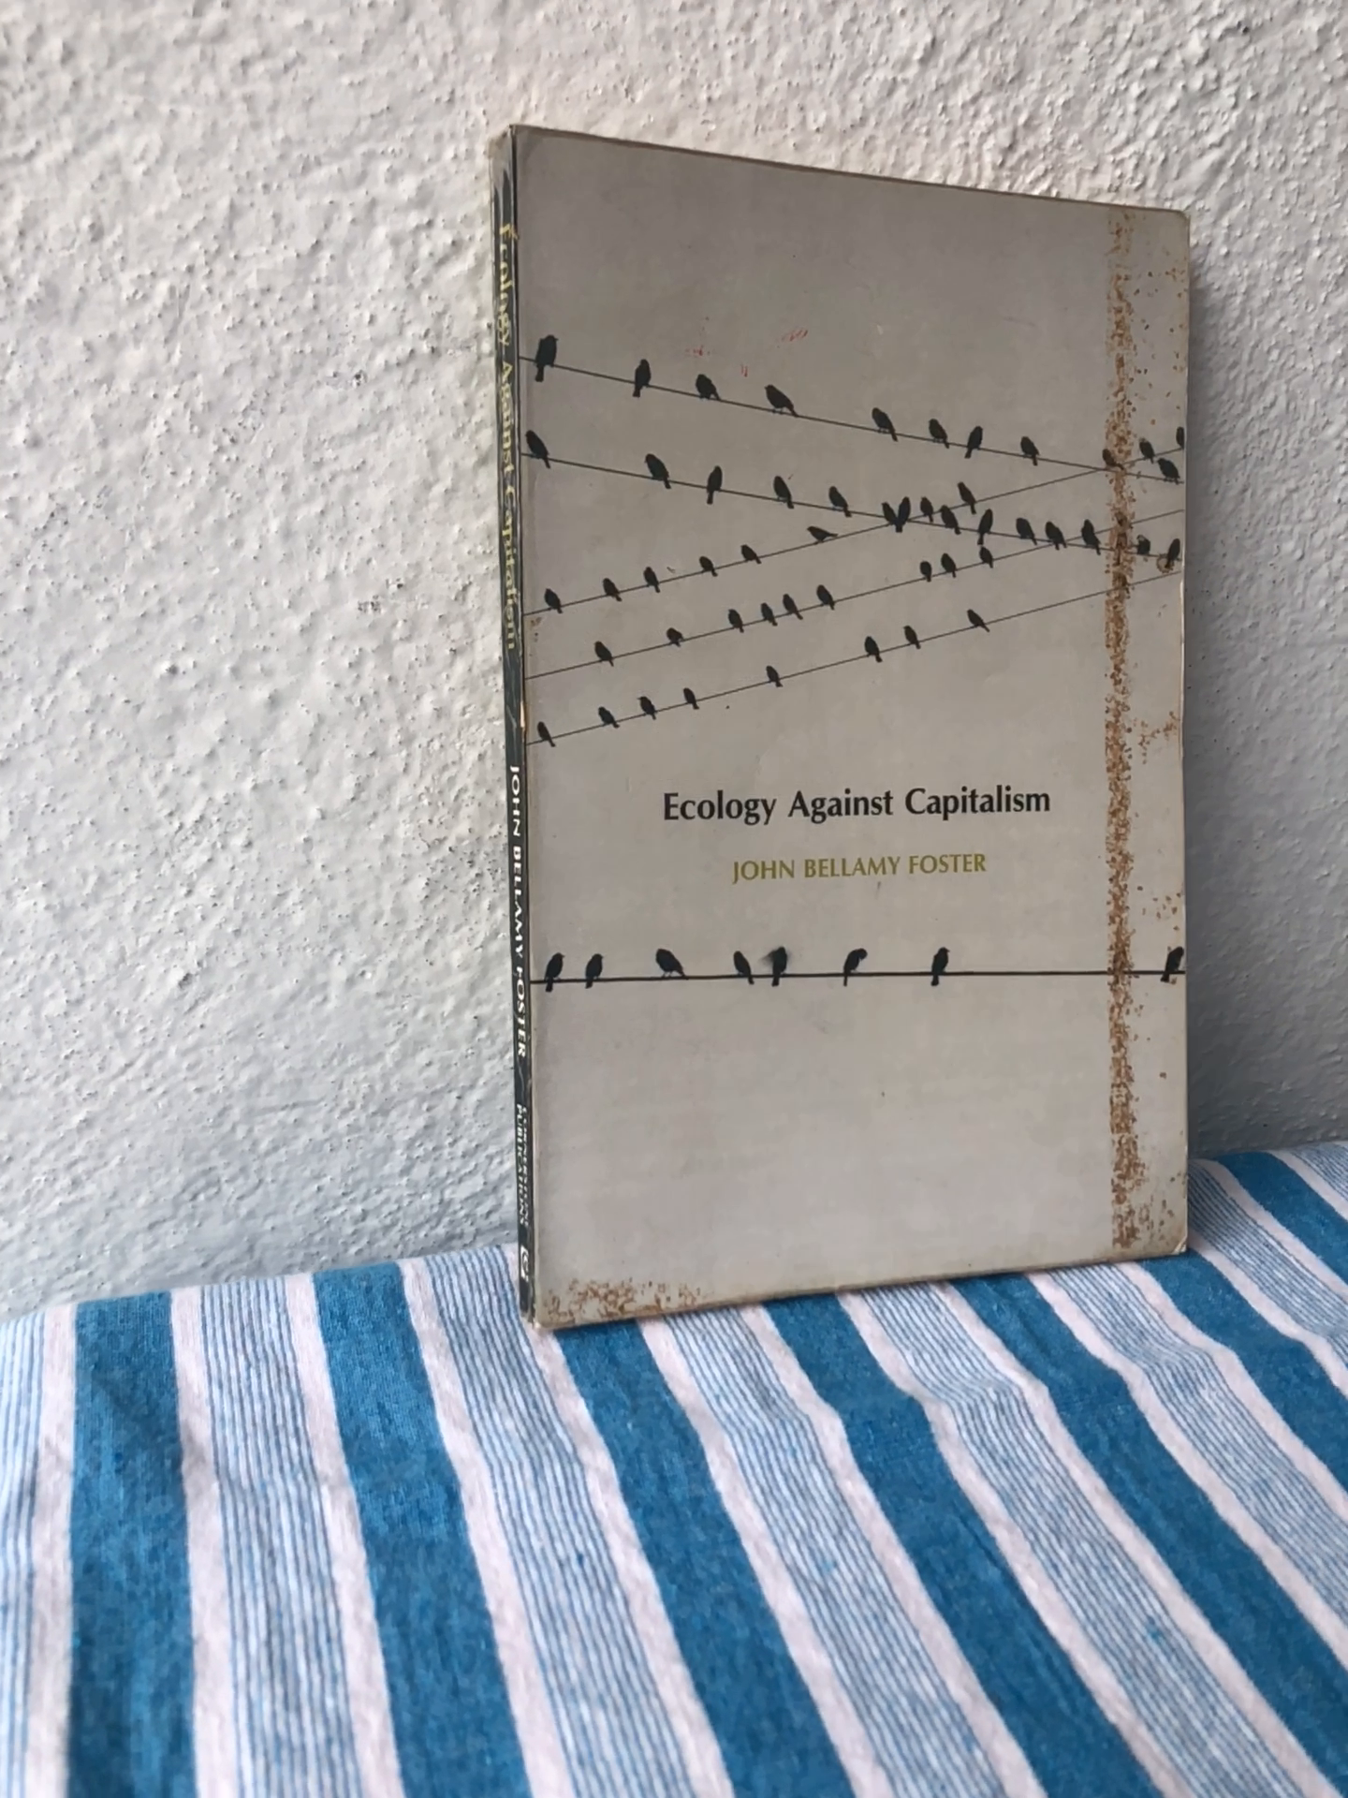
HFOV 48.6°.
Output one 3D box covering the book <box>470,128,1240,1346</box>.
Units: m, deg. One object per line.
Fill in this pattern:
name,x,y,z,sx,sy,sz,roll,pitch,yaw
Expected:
book,0.037,-0.031,0.290,0.140,0.210,0.030,-3,2,-15
